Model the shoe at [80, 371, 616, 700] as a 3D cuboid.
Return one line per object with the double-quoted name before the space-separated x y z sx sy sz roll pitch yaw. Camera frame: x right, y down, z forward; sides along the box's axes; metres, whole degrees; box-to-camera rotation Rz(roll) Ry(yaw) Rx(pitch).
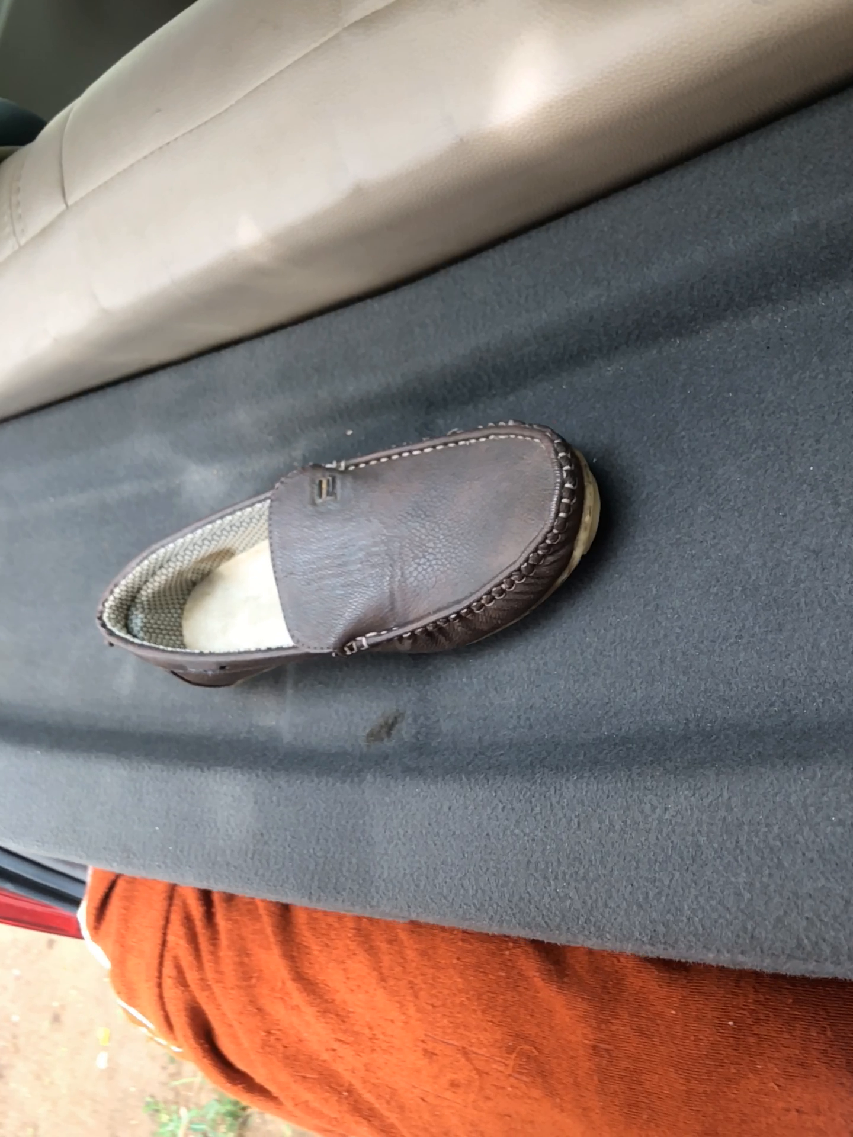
"shoe" -0.049 0.000 0.411 0.261 0.050 0.080 -13 66 37
